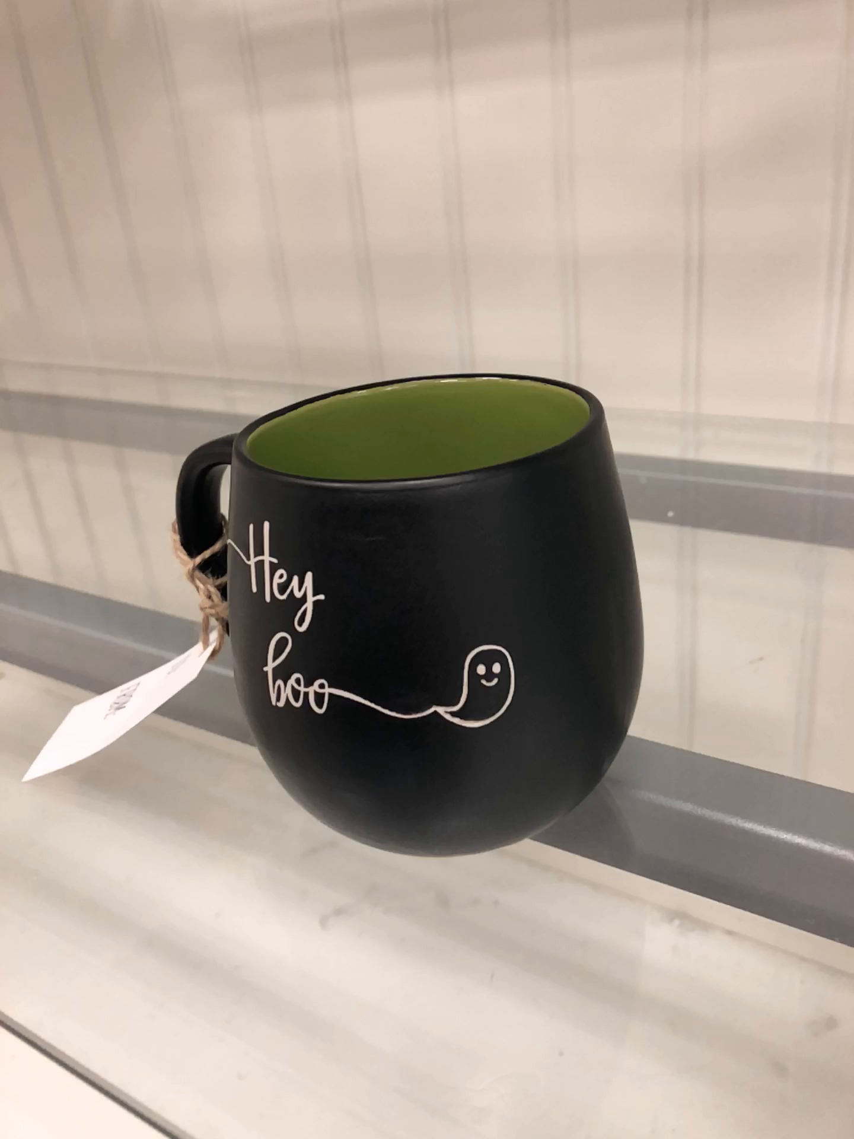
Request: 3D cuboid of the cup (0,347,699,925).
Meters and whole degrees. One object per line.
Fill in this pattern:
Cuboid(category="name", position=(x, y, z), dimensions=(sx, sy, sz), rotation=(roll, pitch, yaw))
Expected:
Cuboid(category="cup", position=(-0.019, 0.001, 0.246), dimensions=(0.149, 0.089, 0.090), rotation=(11, 30, 32))
